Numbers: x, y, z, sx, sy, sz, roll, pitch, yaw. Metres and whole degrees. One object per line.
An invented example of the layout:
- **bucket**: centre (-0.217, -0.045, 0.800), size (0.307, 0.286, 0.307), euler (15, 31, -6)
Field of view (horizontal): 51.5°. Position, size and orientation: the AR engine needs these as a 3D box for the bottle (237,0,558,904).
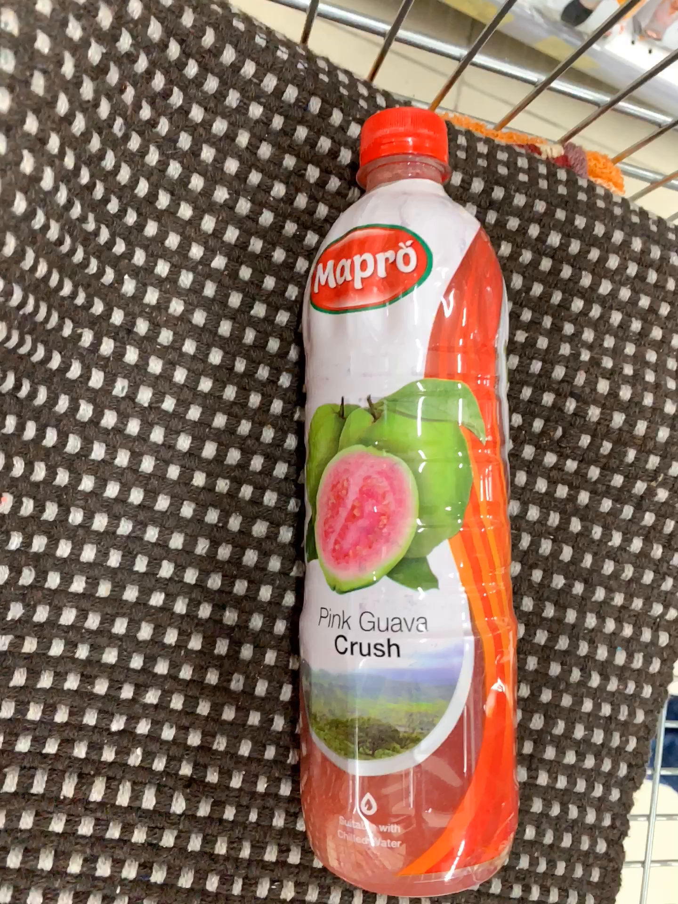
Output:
- **bottle**: centre (0.019, 0.002, 0.221), size (0.070, 0.070, 0.240), euler (8, 79, -63)
